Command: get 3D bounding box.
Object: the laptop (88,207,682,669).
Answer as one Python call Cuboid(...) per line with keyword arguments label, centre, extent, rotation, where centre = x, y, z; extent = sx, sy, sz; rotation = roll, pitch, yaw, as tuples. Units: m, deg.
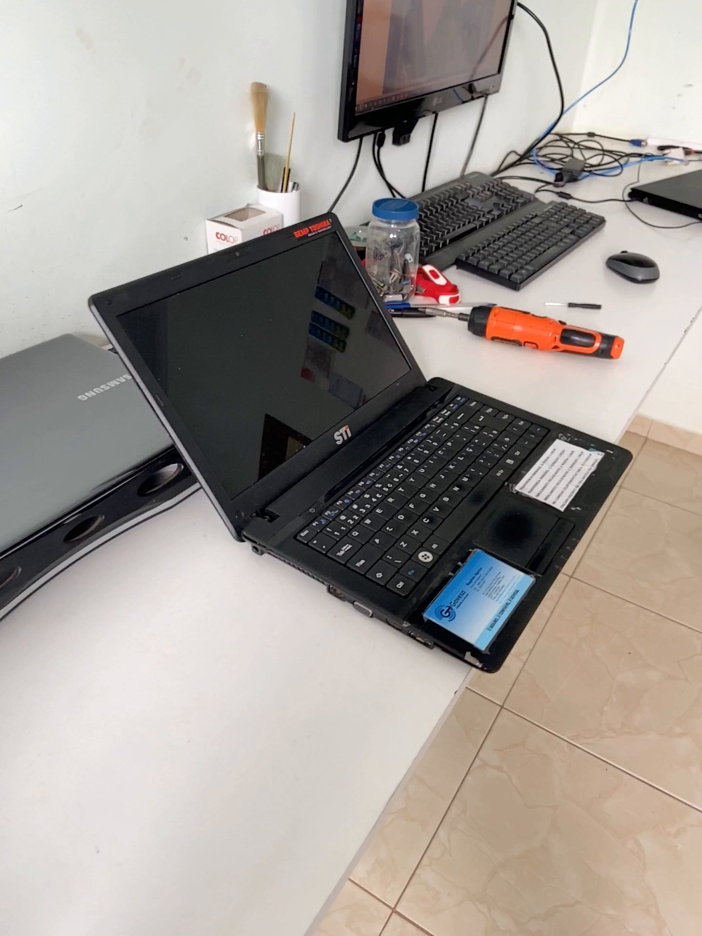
Cuboid(label="laptop", centre=(0.039, -0.076, 0.650), extent=(0.385, 0.159, 0.336), rotation=(24, 40, 25))
